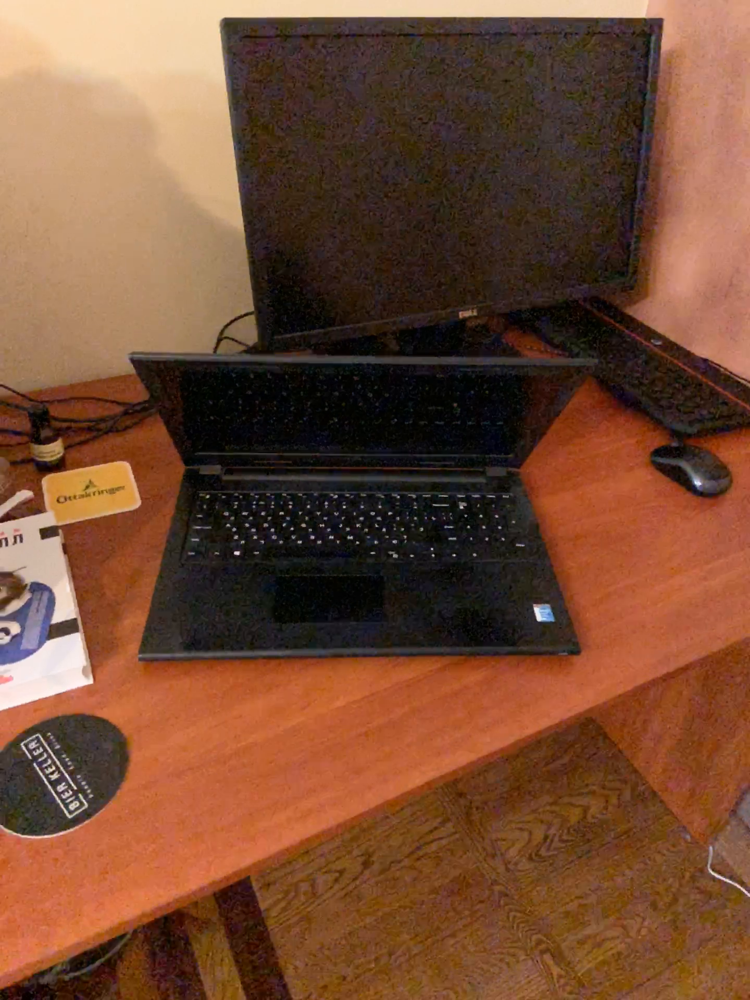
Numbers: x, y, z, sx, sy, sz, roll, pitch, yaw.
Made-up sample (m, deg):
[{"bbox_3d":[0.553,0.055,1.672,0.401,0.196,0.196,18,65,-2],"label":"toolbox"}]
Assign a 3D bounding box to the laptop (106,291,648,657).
[{"bbox_3d":[-0.006,-0.030,0.676,0.373,0.202,0.247,0,39,-5],"label":"laptop"}]
